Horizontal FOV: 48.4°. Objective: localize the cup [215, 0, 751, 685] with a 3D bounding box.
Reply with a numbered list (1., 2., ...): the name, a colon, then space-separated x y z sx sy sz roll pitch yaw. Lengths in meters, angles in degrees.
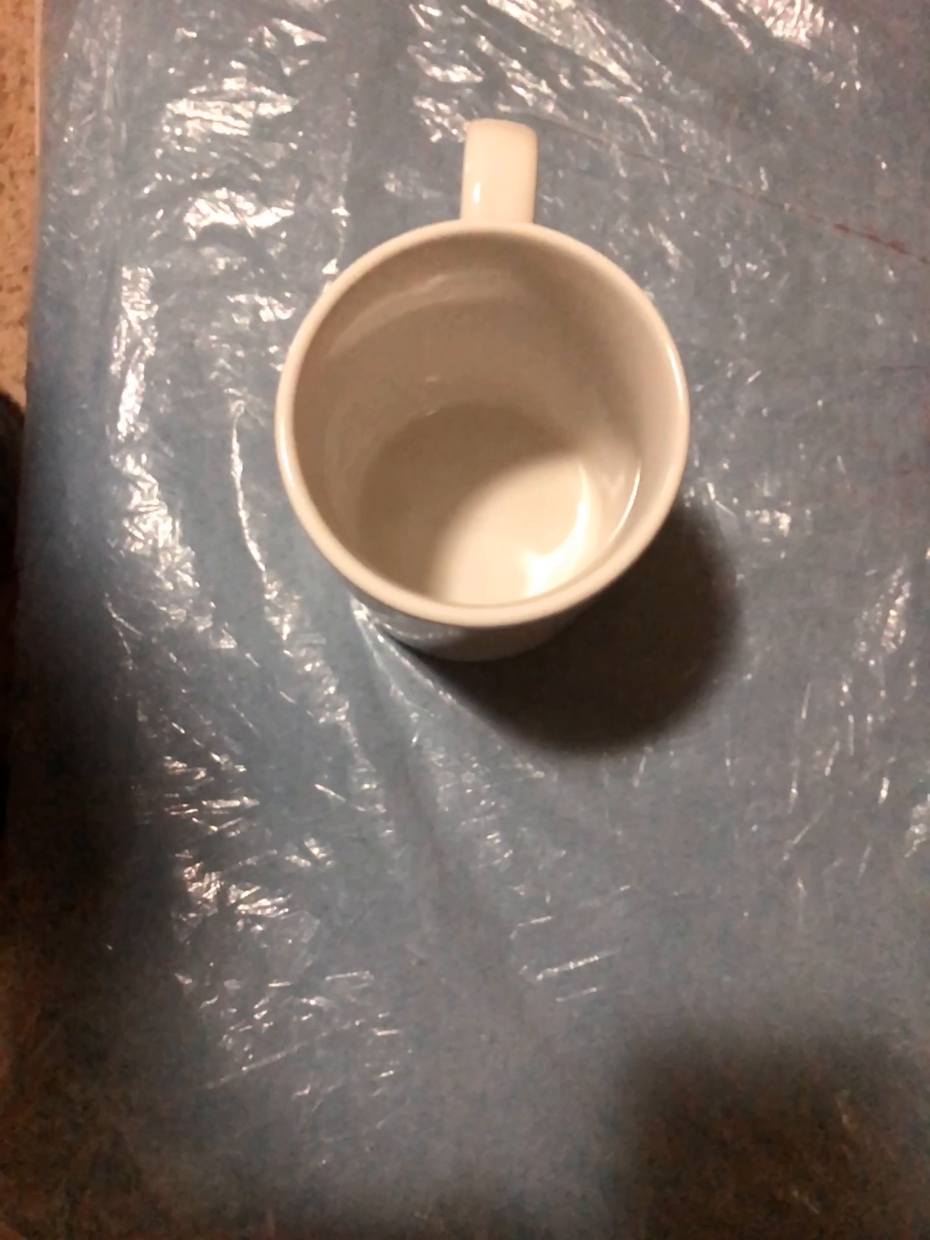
1. cup: 0.004 -0.060 0.269 0.100 0.110 0.140 5 83 -2
